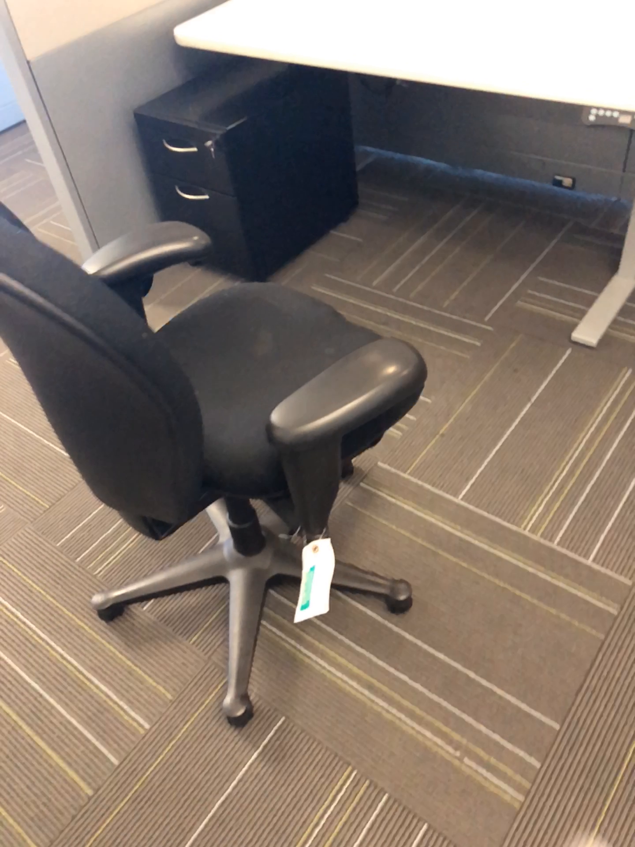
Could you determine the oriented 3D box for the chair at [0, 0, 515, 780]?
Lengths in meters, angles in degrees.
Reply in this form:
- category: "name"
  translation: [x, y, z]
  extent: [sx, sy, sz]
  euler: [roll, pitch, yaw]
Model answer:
- category: "chair"
  translation: [-0.217, -0.103, 1.165]
  extent: [0.680, 0.995, 0.703]
  euler: [-30, 48, -19]
